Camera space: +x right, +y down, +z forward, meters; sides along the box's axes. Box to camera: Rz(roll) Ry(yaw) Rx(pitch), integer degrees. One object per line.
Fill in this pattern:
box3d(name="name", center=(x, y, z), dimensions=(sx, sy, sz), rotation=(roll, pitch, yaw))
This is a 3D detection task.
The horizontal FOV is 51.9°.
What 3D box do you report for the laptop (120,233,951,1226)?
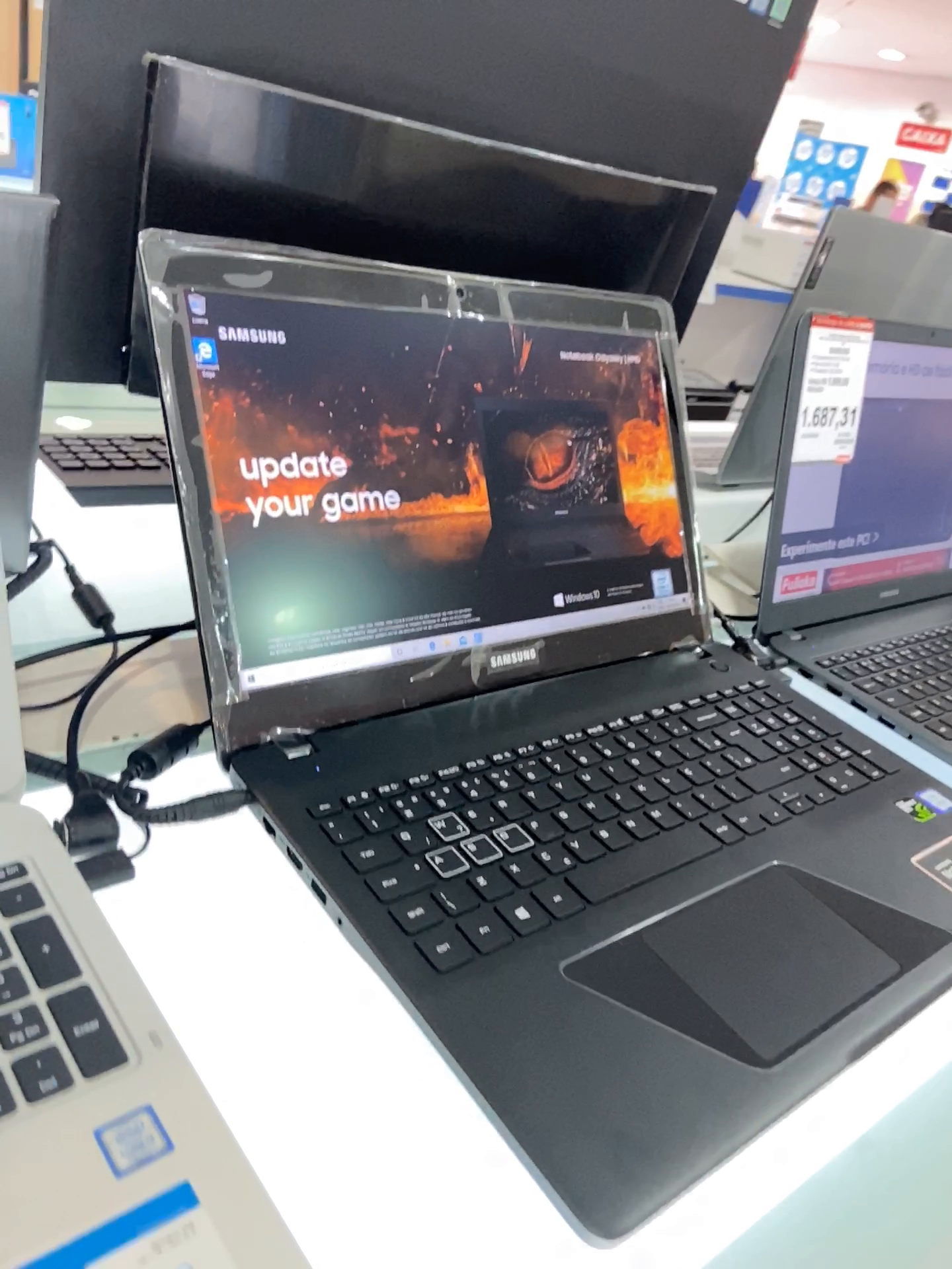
box3d(name="laptop", center=(0.085, -0.031, 0.487), dimensions=(0.375, 0.202, 0.392), rotation=(-9, 34, -38))
